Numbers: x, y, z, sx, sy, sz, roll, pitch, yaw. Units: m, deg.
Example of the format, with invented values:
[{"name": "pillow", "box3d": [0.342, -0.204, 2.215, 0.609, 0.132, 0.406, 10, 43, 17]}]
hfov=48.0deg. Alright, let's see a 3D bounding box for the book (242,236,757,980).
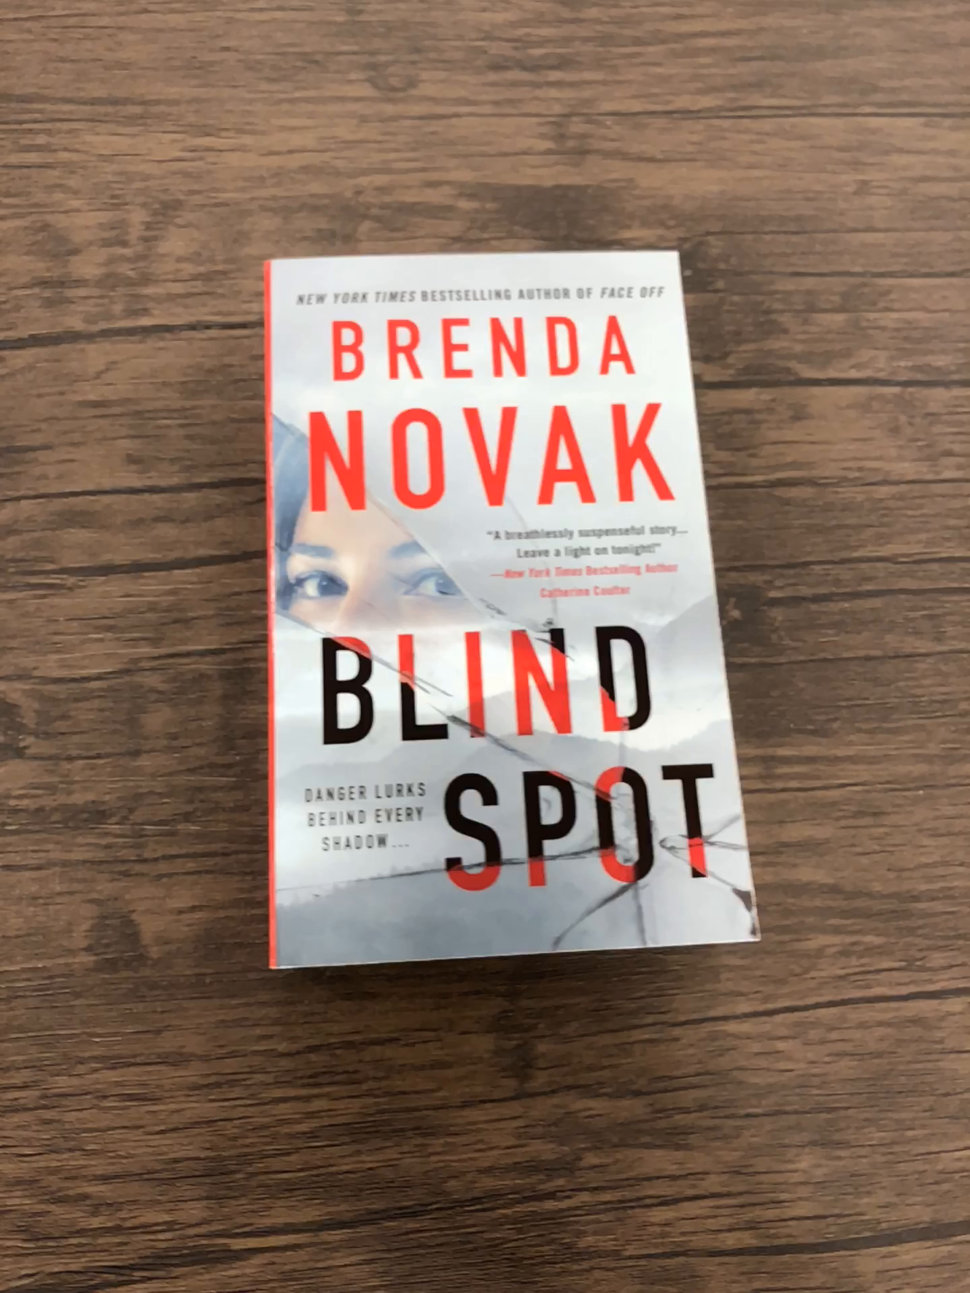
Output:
[{"name": "book", "box3d": [-0.002, -0.013, 0.270, 0.109, 0.039, 0.175, -2, 76, -5]}]
